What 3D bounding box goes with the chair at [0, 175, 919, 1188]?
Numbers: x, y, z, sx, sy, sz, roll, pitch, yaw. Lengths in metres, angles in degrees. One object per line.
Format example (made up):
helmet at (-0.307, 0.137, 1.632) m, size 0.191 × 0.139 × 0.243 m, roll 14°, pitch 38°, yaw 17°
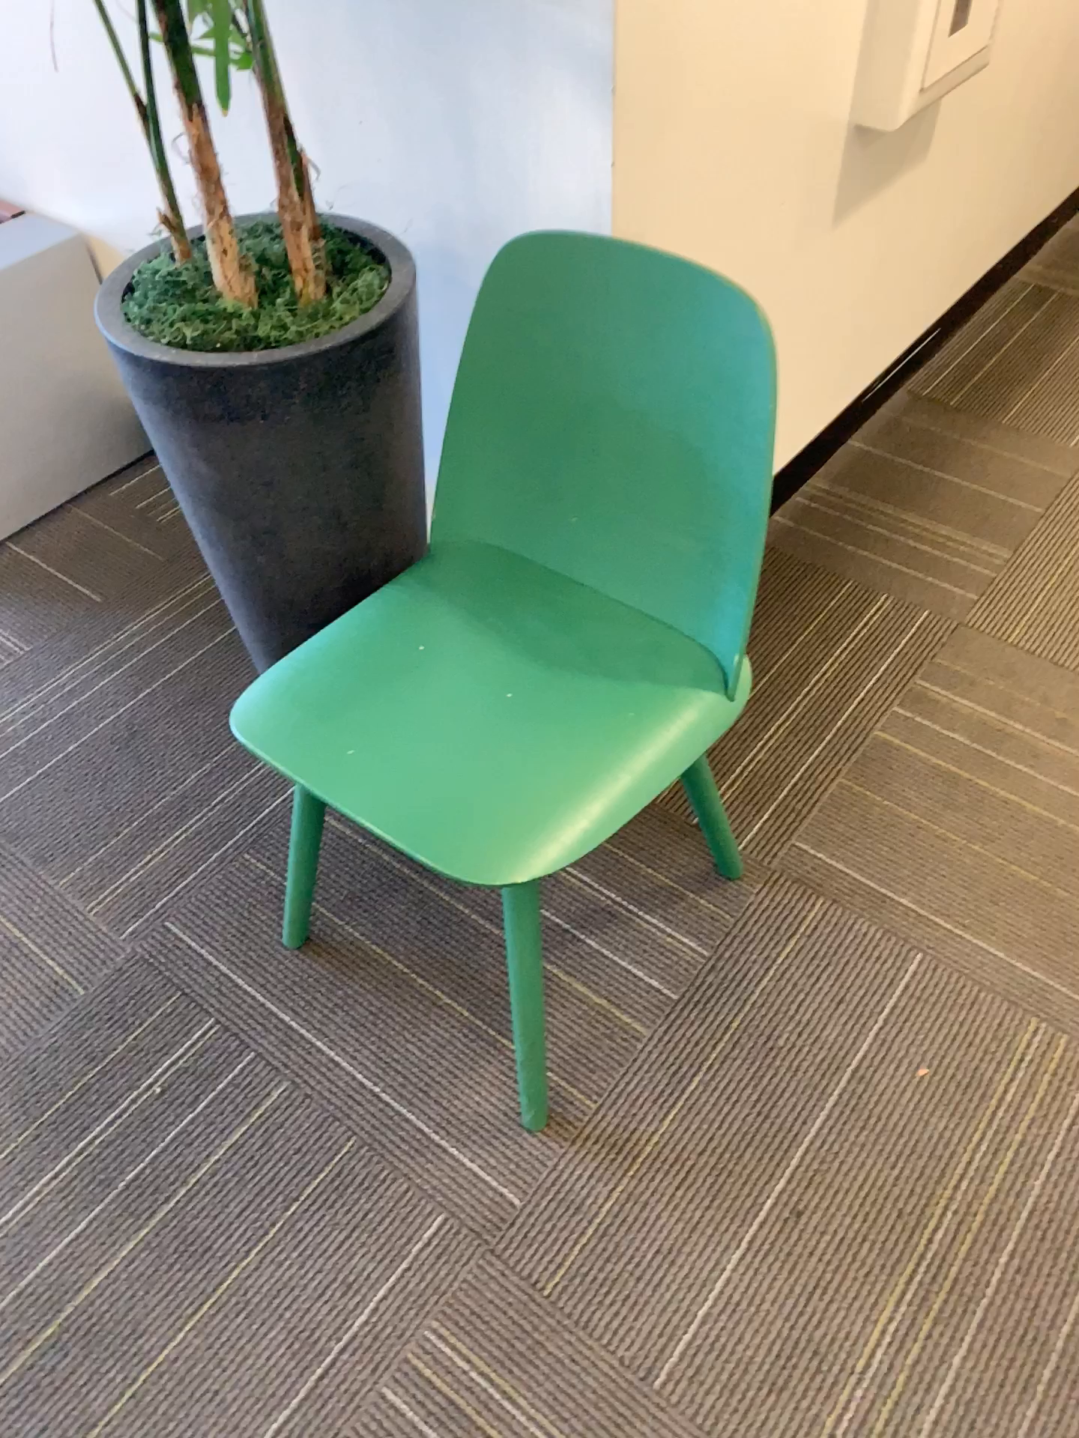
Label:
chair at (-0.042, -0.037, 1.174) m, size 0.502 × 0.746 × 0.601 m, roll 29°, pitch 55°, yaw 26°
